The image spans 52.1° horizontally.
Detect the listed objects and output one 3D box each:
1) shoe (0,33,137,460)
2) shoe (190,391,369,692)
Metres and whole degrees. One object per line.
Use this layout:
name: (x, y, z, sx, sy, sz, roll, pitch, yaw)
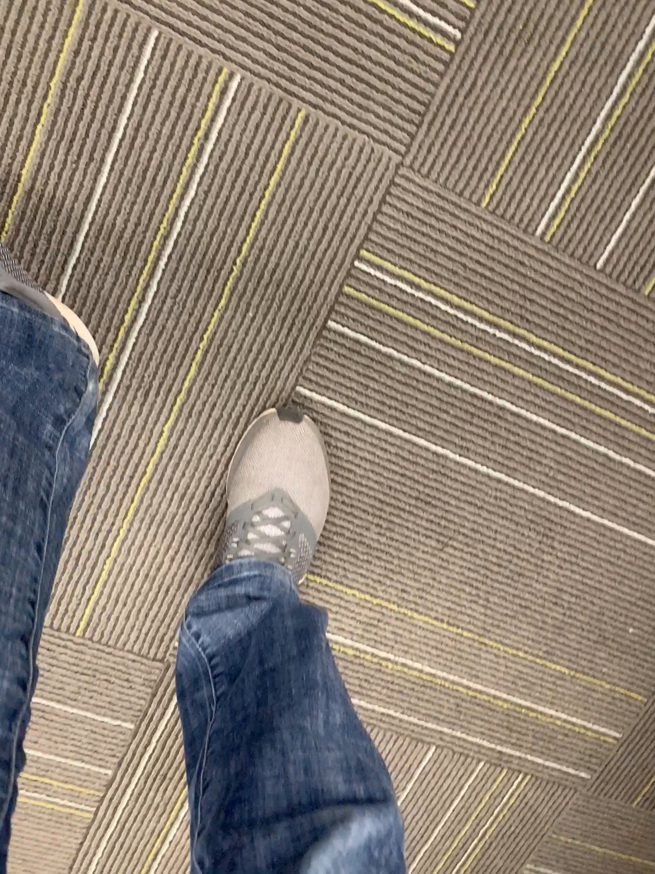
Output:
shoe: (-0.329, -0.150, 0.585, 0.131, 0.093, 0.313, -35, 110, 6)
shoe: (-0.058, 0.116, 0.725, 0.128, 0.093, 0.300, 10, 109, -10)
